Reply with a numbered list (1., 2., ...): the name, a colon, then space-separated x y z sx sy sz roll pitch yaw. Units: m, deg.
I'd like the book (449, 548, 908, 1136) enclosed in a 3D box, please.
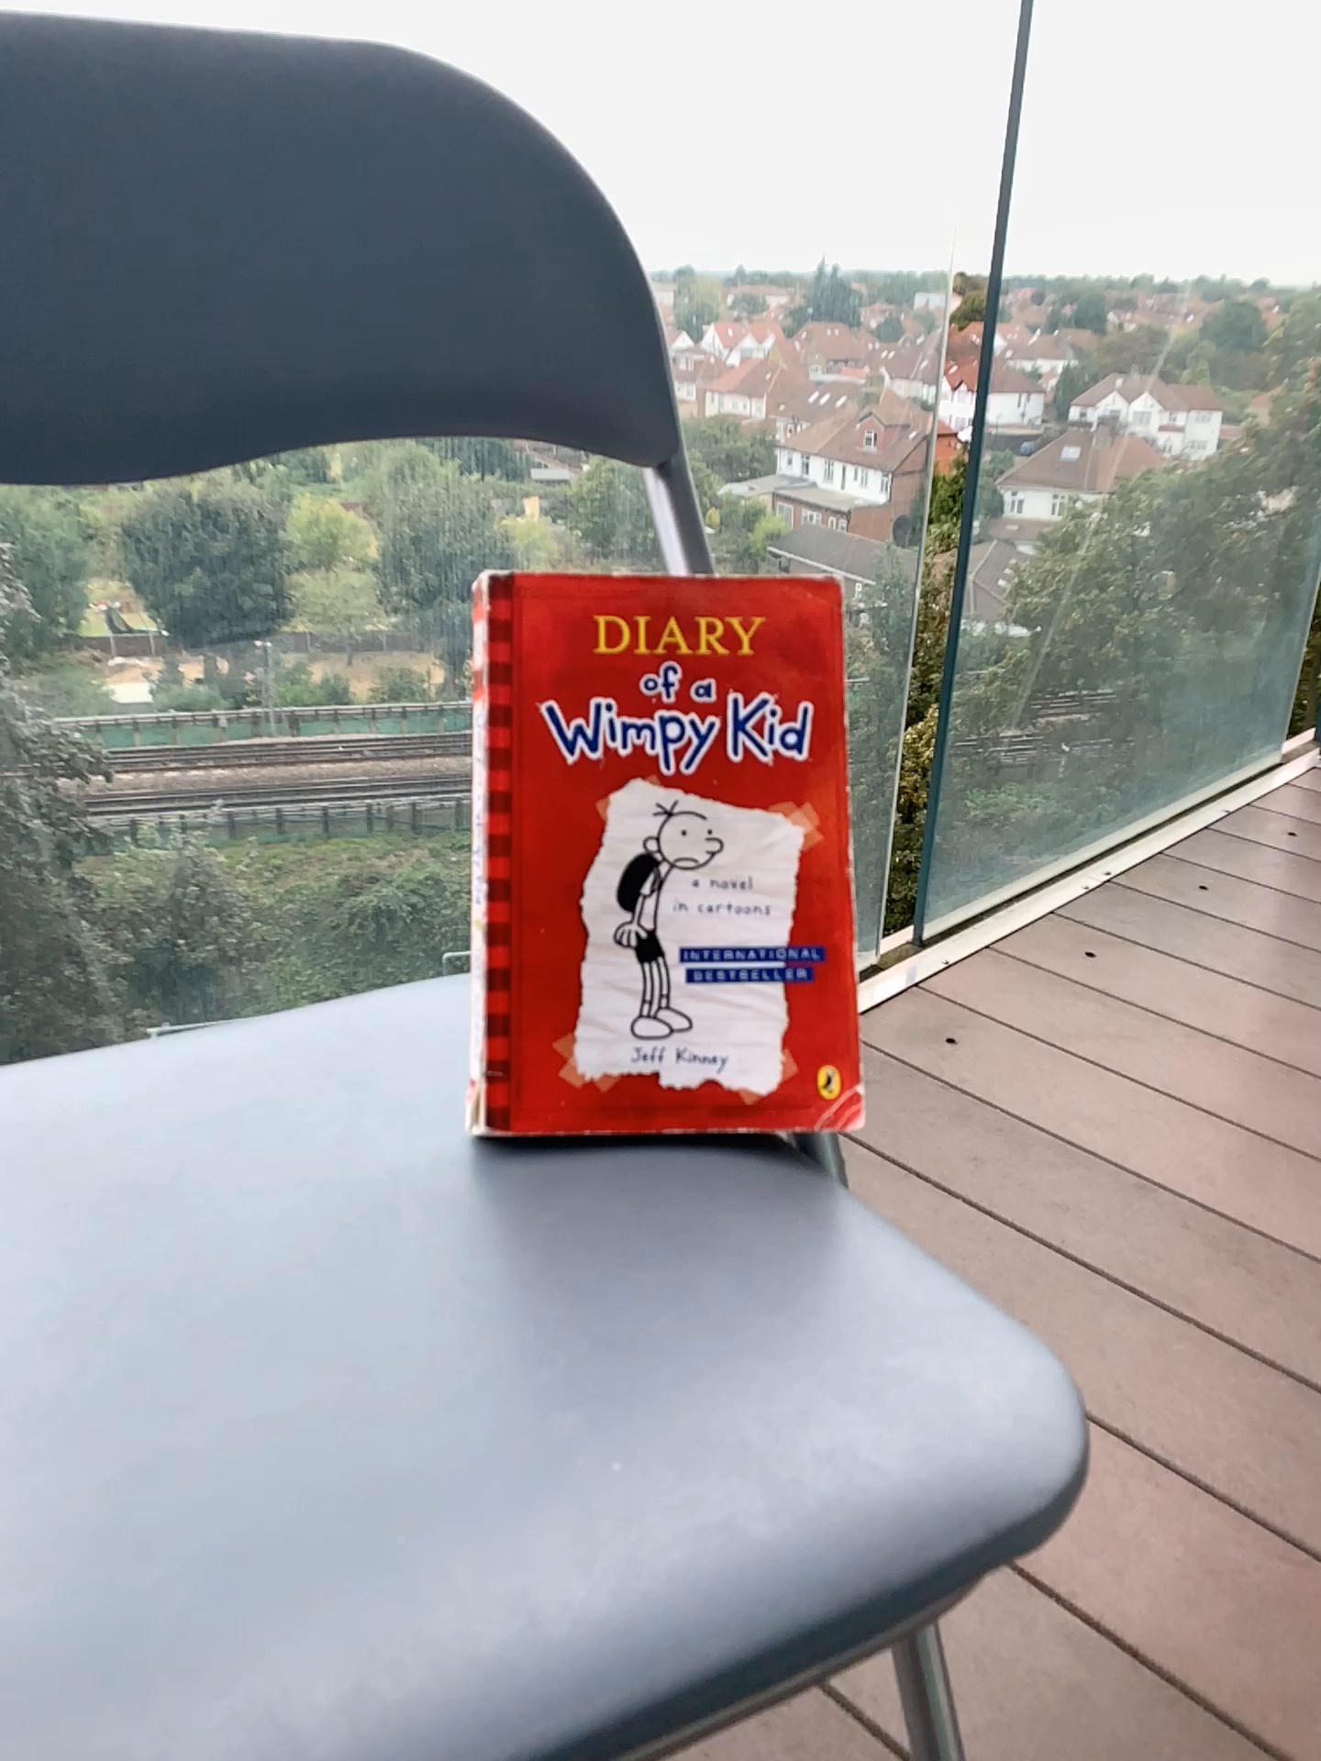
1. book: 0.006 -0.013 0.475 0.150 0.201 0.040 0 -9 -2
